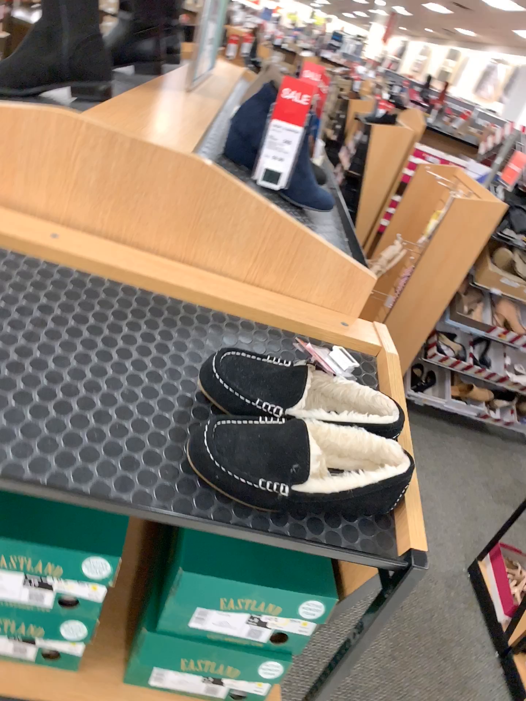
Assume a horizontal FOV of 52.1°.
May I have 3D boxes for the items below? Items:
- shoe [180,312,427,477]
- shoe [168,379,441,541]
[{"bbox_3d":[0.046,0.053,0.606,0.250,0.089,0.087,17,50,-9],"label":"shoe"},{"bbox_3d":[0.042,0.118,0.551,0.250,0.089,0.087,15,51,-13],"label":"shoe"}]
